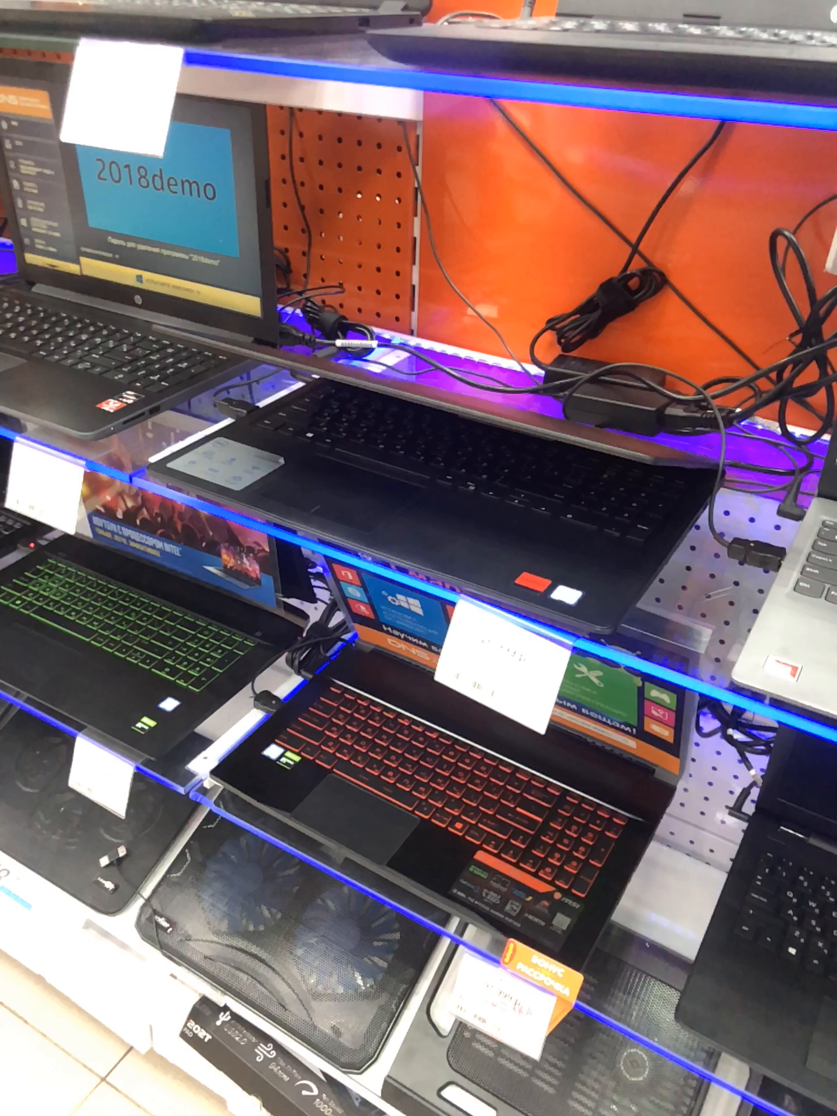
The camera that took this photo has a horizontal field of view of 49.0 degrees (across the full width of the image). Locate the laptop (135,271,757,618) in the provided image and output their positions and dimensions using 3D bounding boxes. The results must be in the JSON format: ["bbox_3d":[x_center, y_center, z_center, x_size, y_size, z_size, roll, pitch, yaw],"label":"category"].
[{"bbox_3d":[0.021,-0.111,0.681,0.371,0.100,0.239,18,35,26],"label":"laptop"}]
